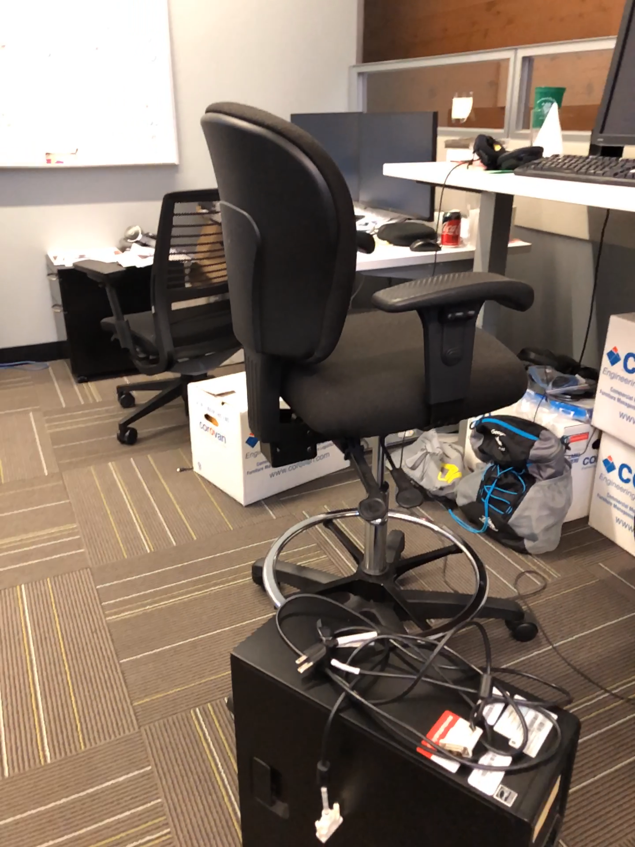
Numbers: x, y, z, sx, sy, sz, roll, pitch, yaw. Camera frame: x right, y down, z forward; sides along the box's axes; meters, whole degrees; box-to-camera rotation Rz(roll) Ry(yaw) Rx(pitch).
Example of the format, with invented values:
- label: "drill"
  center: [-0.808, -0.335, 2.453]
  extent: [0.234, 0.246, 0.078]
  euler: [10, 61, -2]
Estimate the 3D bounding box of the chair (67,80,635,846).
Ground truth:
- label: "chair"
  center: [0.122, -0.079, 1.459]
  extent: [0.961, 1.104, 0.894]
  euler: [-12, 26, -24]
